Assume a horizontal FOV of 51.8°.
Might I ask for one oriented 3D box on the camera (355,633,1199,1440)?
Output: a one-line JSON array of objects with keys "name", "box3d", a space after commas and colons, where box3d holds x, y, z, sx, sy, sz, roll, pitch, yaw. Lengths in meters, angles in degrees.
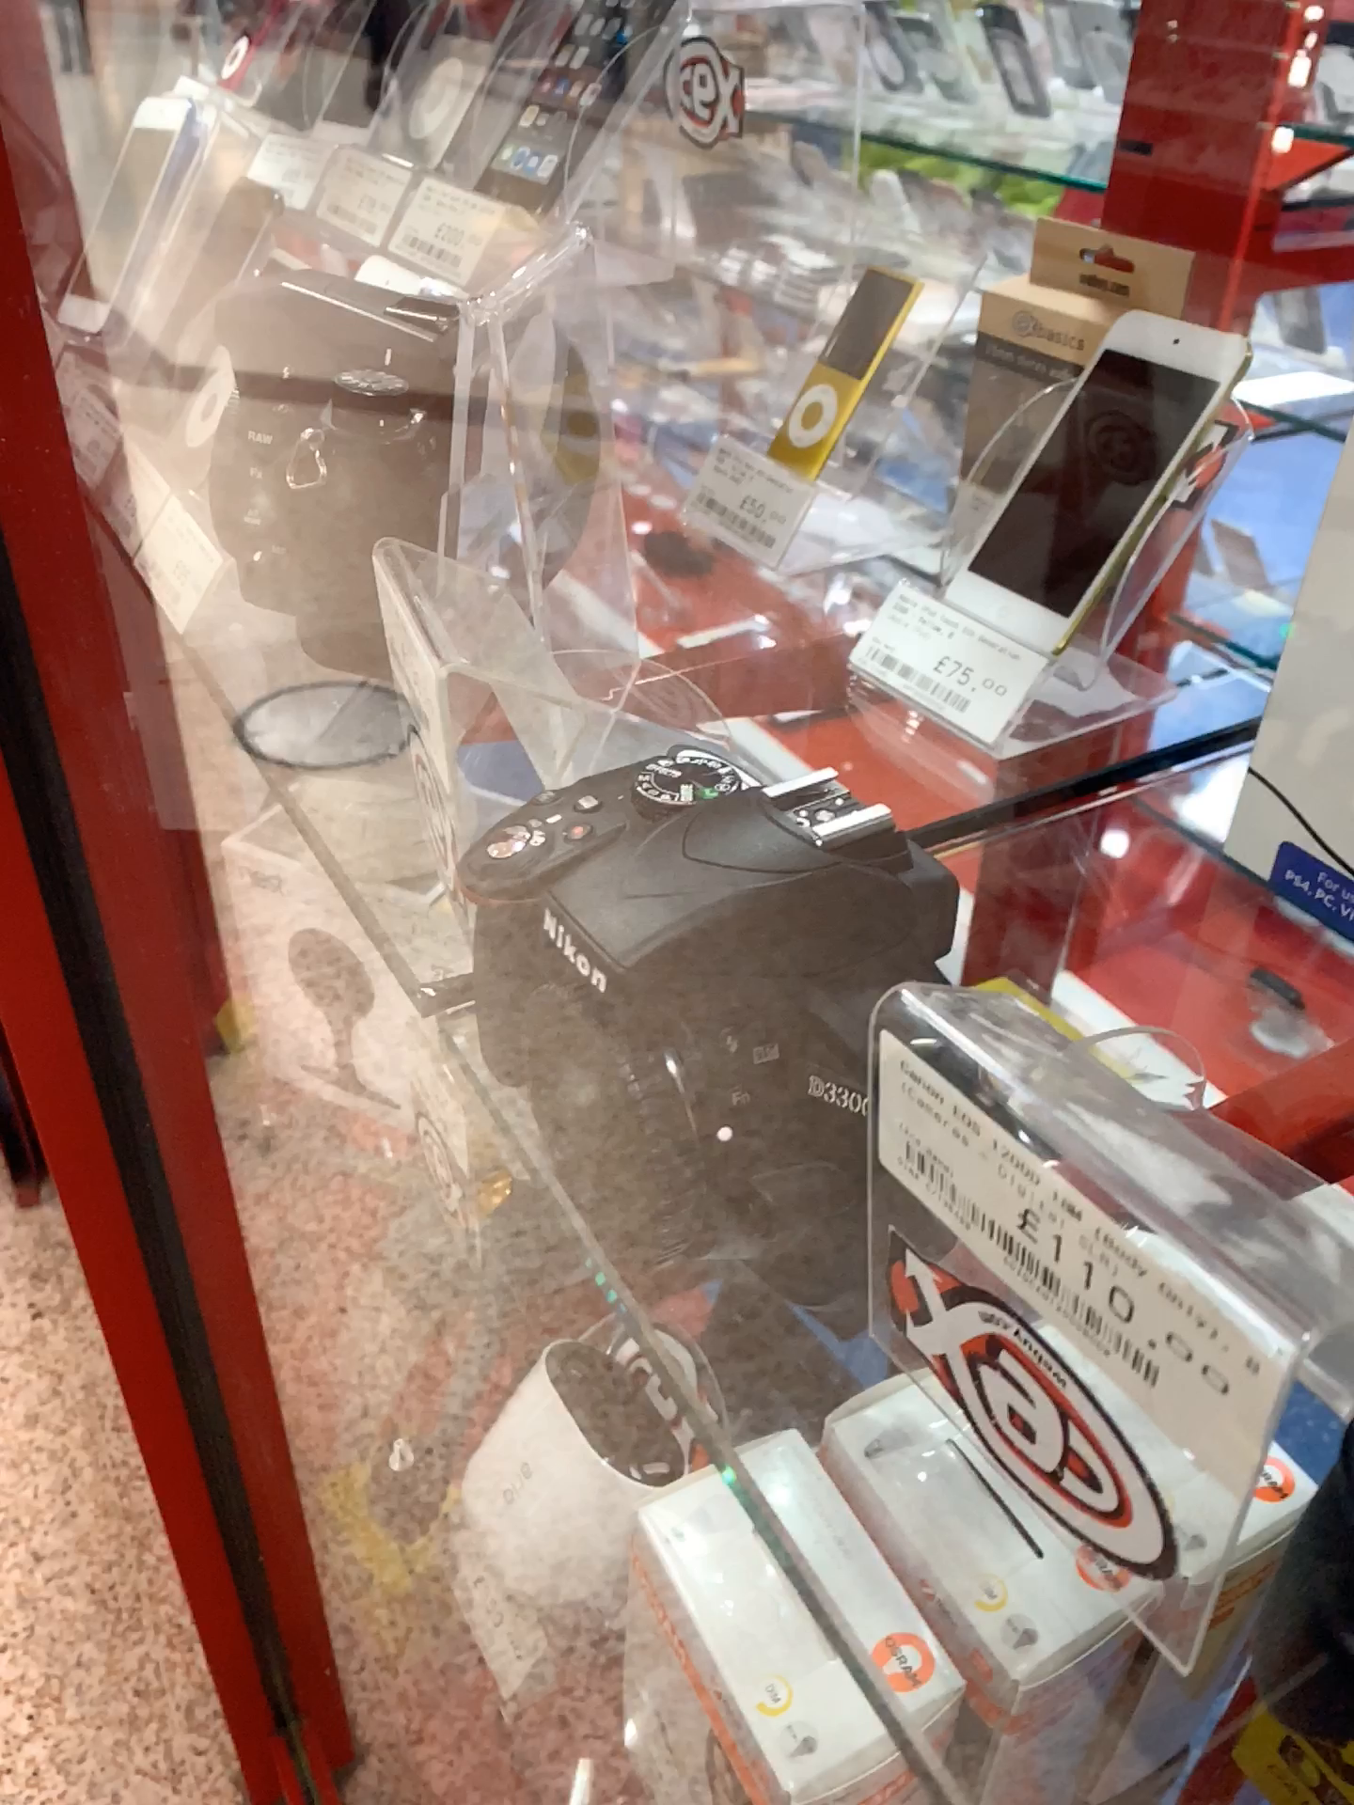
[{"name": "camera", "box3d": [0.014, 0.015, 0.298, 0.110, 0.079, 0.131, -21, 41, -29]}]
